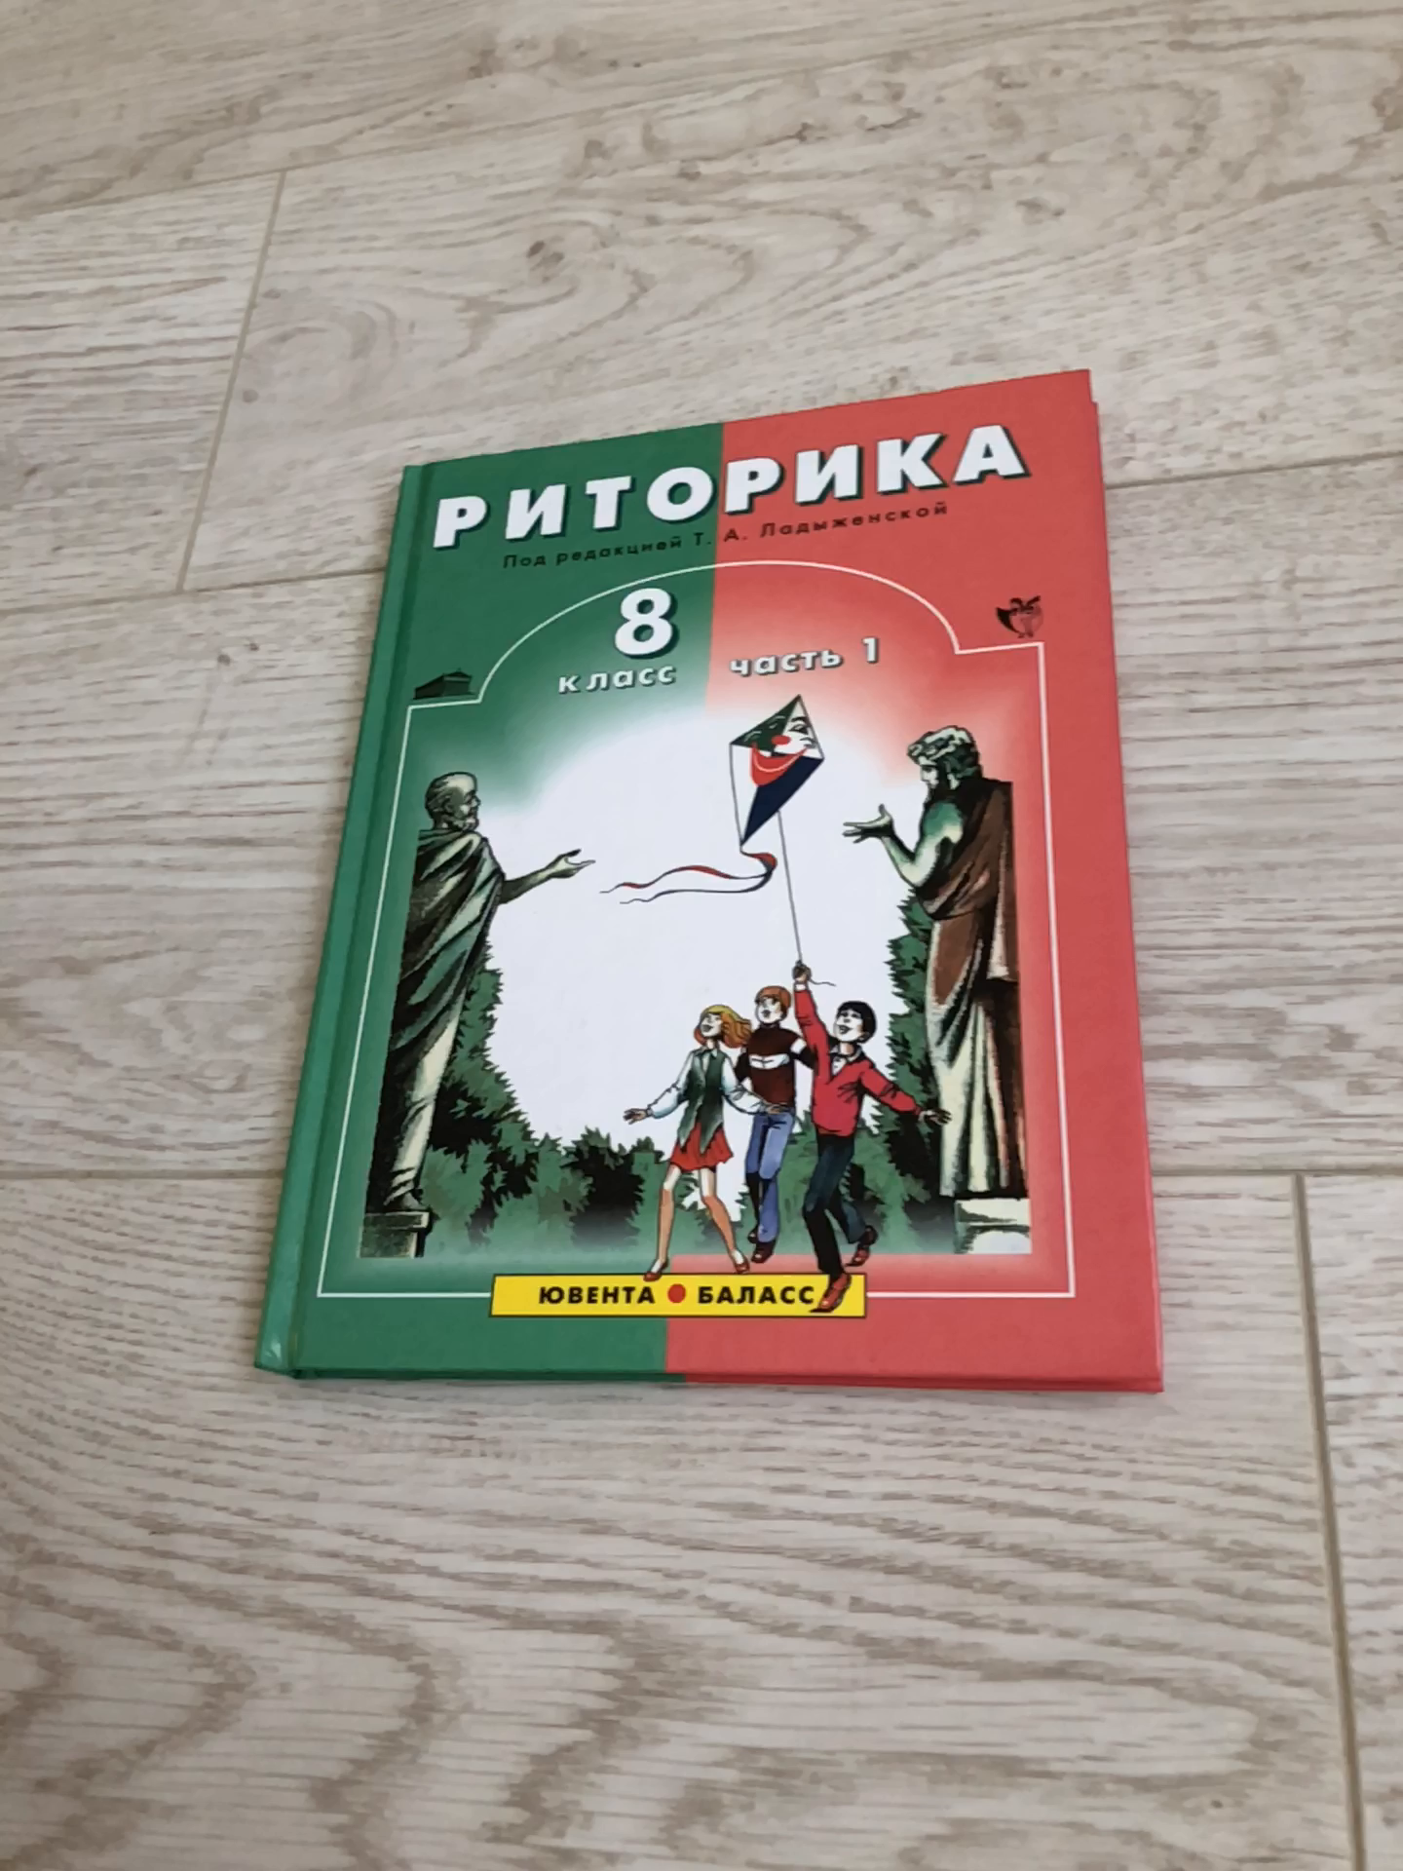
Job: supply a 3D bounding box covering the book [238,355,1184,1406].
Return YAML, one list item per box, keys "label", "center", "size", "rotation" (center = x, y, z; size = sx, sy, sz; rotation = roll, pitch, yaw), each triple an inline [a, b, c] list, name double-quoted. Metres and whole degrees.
- label: "book"
  center: [0.003, -0.019, 0.327]
  size: [0.170, 0.020, 0.223]
  rotation: [-4, 64, 14]
